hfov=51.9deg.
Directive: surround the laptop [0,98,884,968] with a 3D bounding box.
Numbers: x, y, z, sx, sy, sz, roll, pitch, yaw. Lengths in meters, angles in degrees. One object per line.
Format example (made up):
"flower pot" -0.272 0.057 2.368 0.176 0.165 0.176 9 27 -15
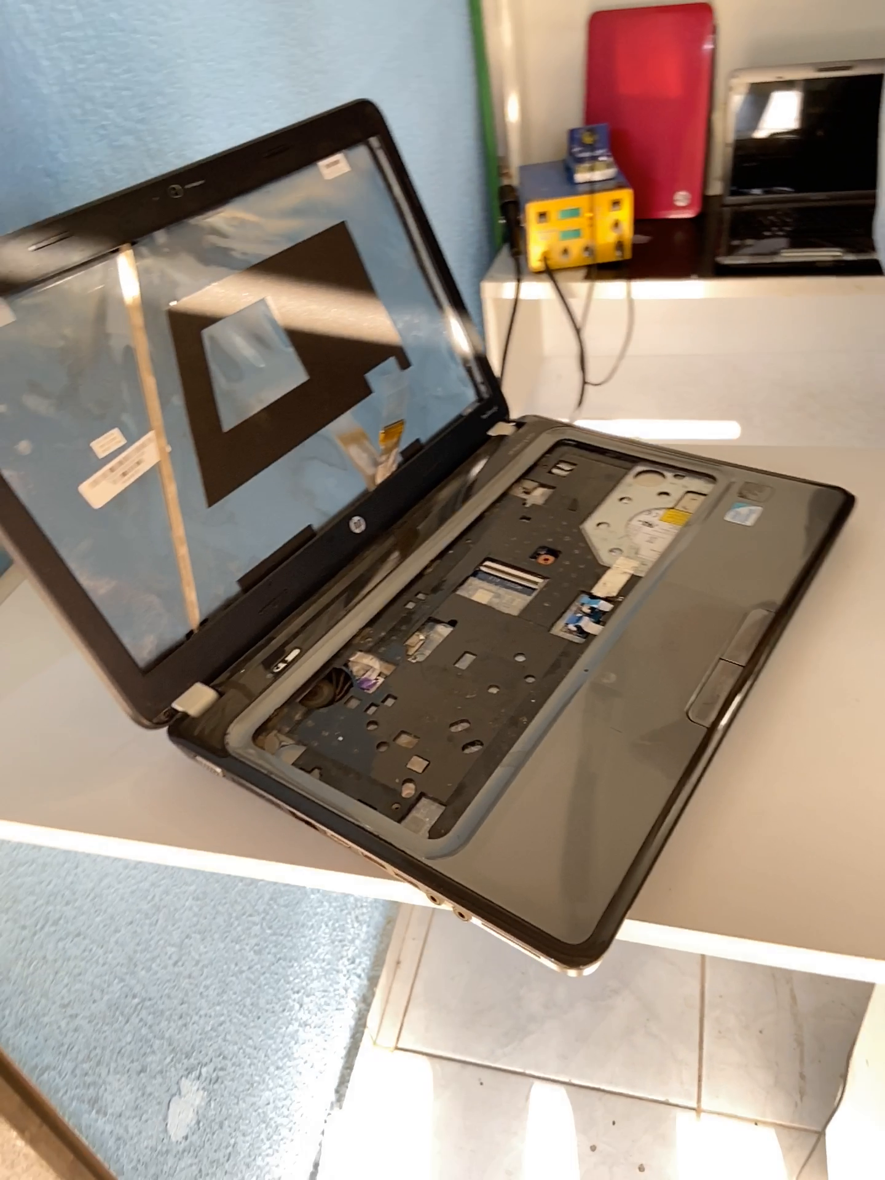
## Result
"laptop" -0.001 -0.087 0.446 0.323 0.194 0.336 20 46 30
